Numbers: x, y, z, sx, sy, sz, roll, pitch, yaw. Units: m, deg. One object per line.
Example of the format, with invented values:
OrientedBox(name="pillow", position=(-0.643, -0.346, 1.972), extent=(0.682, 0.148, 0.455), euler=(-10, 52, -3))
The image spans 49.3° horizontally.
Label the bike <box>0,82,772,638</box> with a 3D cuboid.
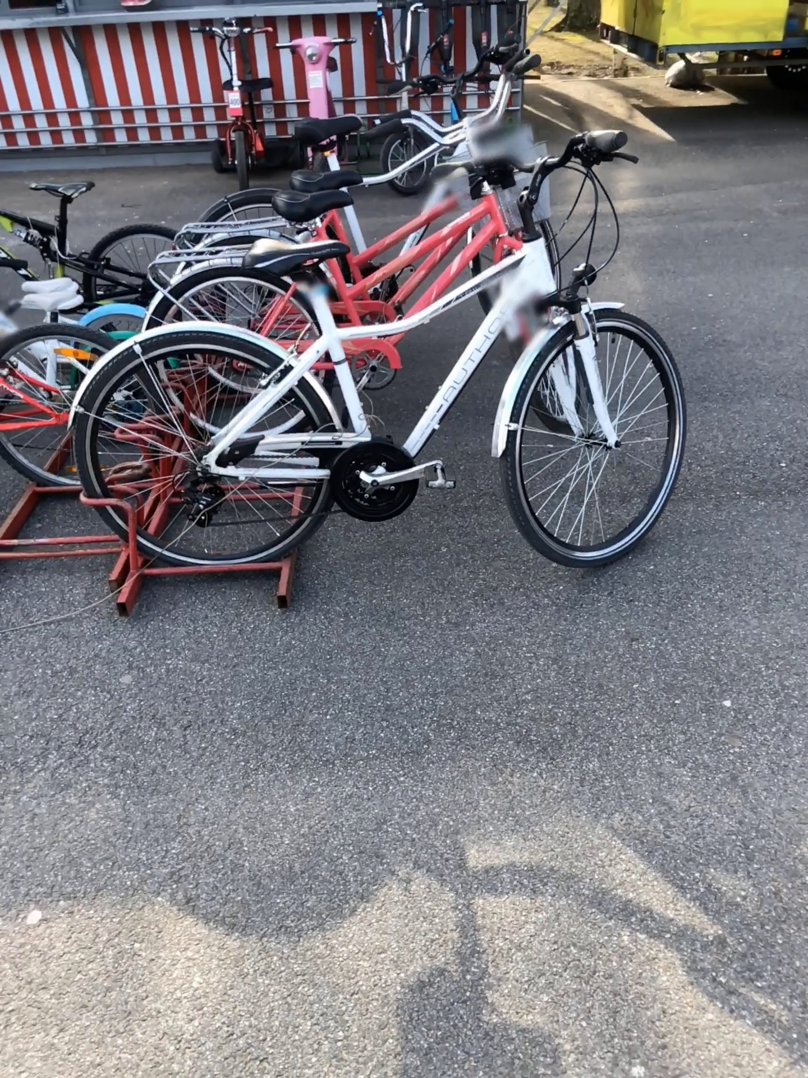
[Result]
OrientedBox(name="bike", position=(-0.041, -0.501, 2.382), extent=(1.697, 1.112, 0.648), euler=(-8, 35, -7))
